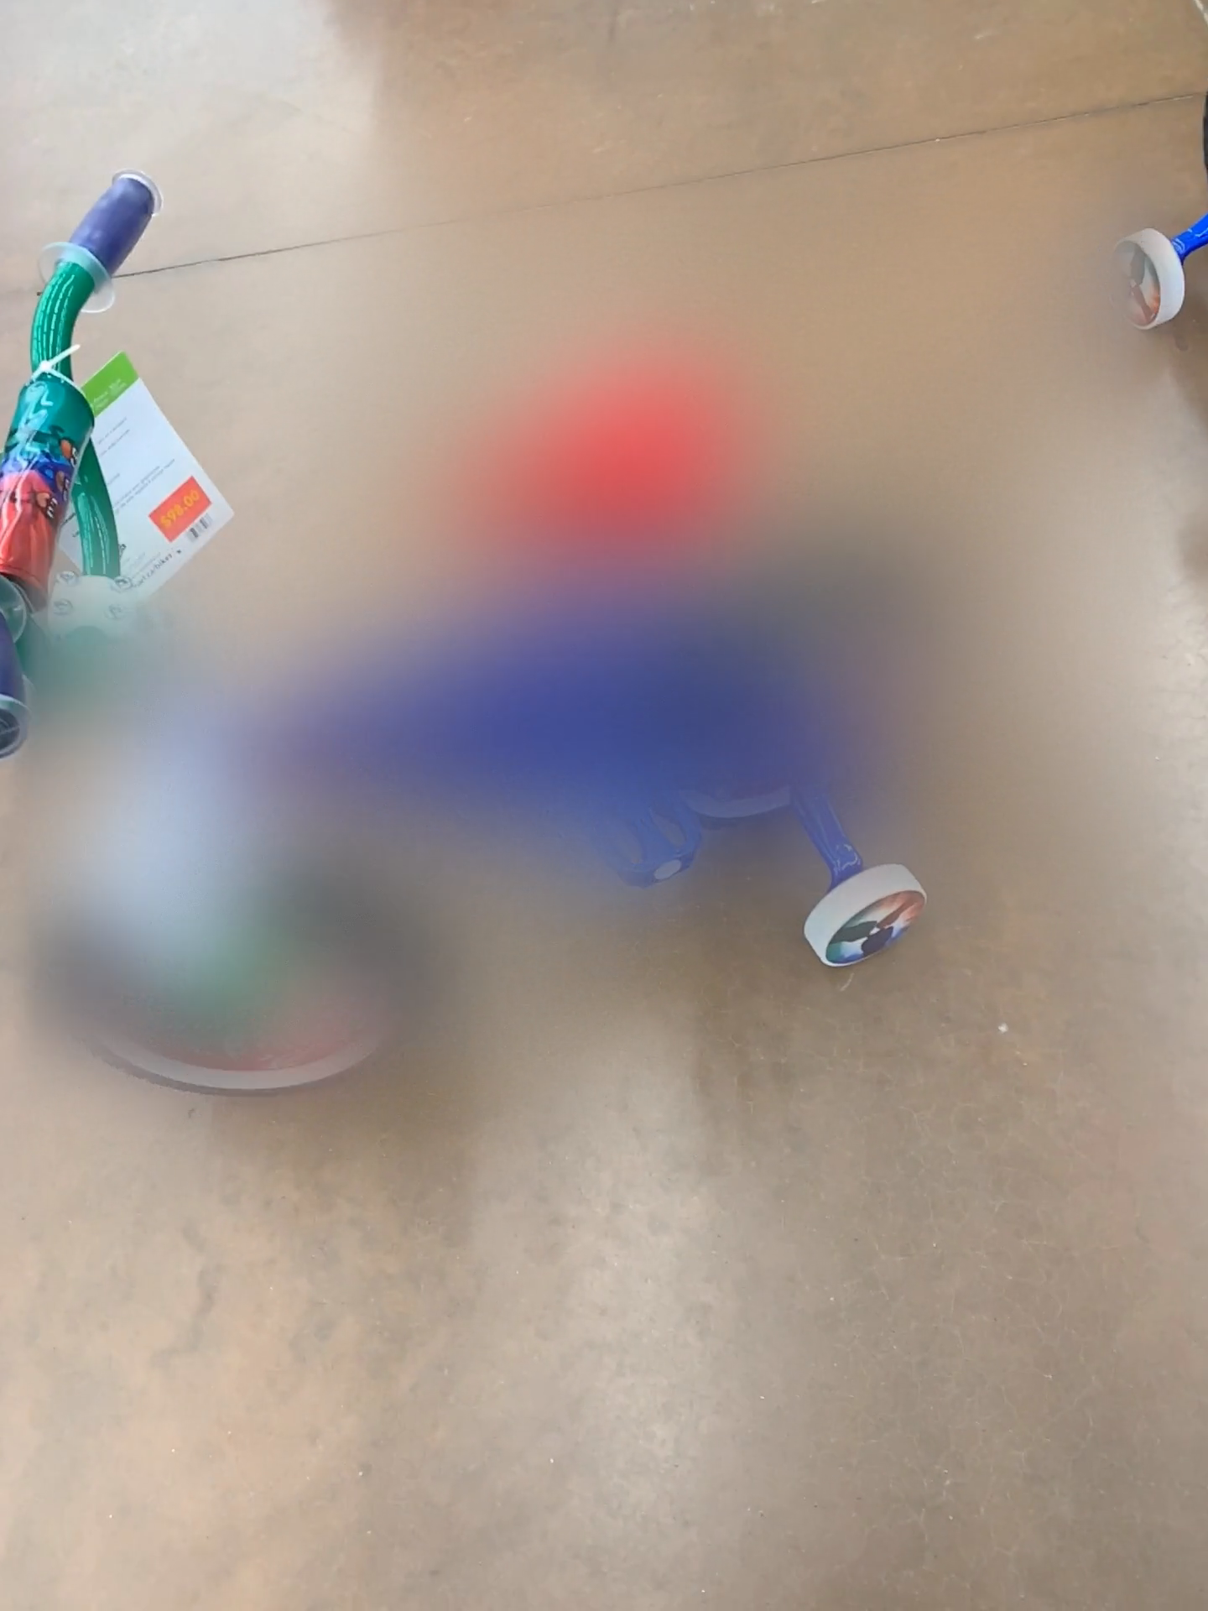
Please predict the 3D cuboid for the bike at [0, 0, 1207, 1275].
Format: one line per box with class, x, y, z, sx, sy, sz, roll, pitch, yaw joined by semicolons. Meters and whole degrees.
bike;-0.124;-0.116;0.896;0.775;0.670;0.461;-25;57;-6
